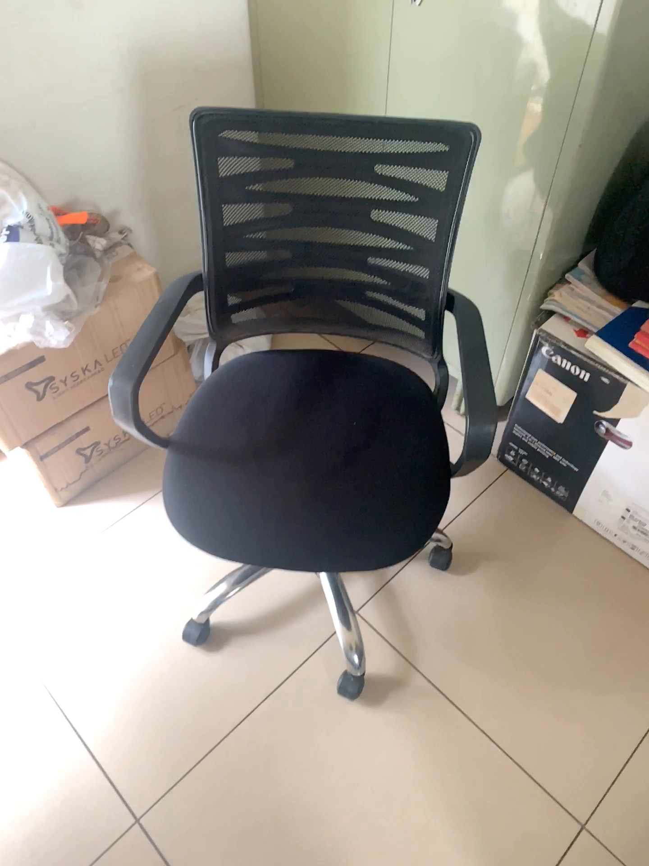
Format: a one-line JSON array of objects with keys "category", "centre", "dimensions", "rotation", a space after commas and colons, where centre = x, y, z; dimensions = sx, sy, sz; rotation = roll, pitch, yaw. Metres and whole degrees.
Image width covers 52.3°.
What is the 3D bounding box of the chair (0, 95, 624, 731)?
[{"category": "chair", "centre": [-0.013, 0.032, 1.252], "dimensions": [0.680, 0.996, 0.652], "rotation": [5, 50, 4]}]
